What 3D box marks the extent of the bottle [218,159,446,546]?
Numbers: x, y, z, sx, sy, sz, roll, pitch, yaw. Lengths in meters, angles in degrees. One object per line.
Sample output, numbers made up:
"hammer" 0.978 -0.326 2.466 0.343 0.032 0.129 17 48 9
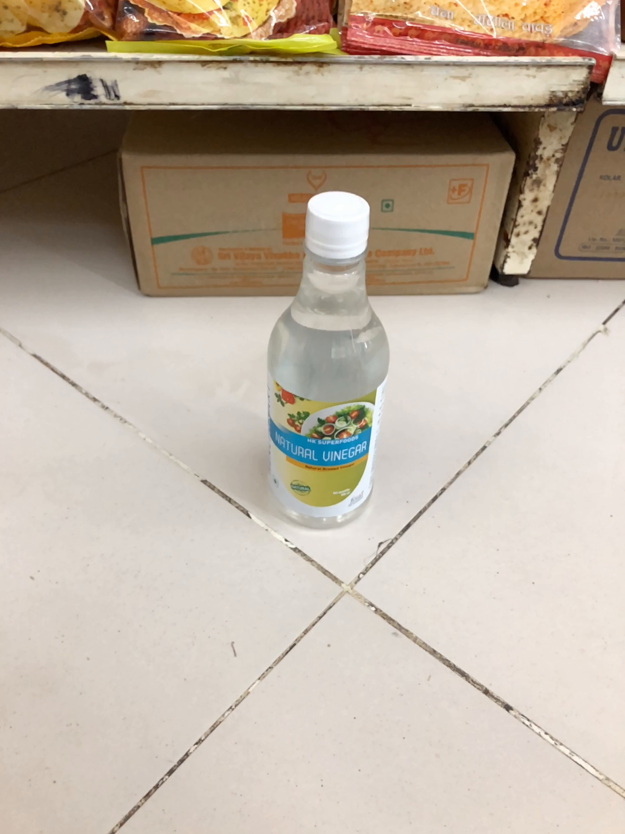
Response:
"bottle" 0.010 -0.031 0.413 0.090 0.199 0.091 1 43 -1
